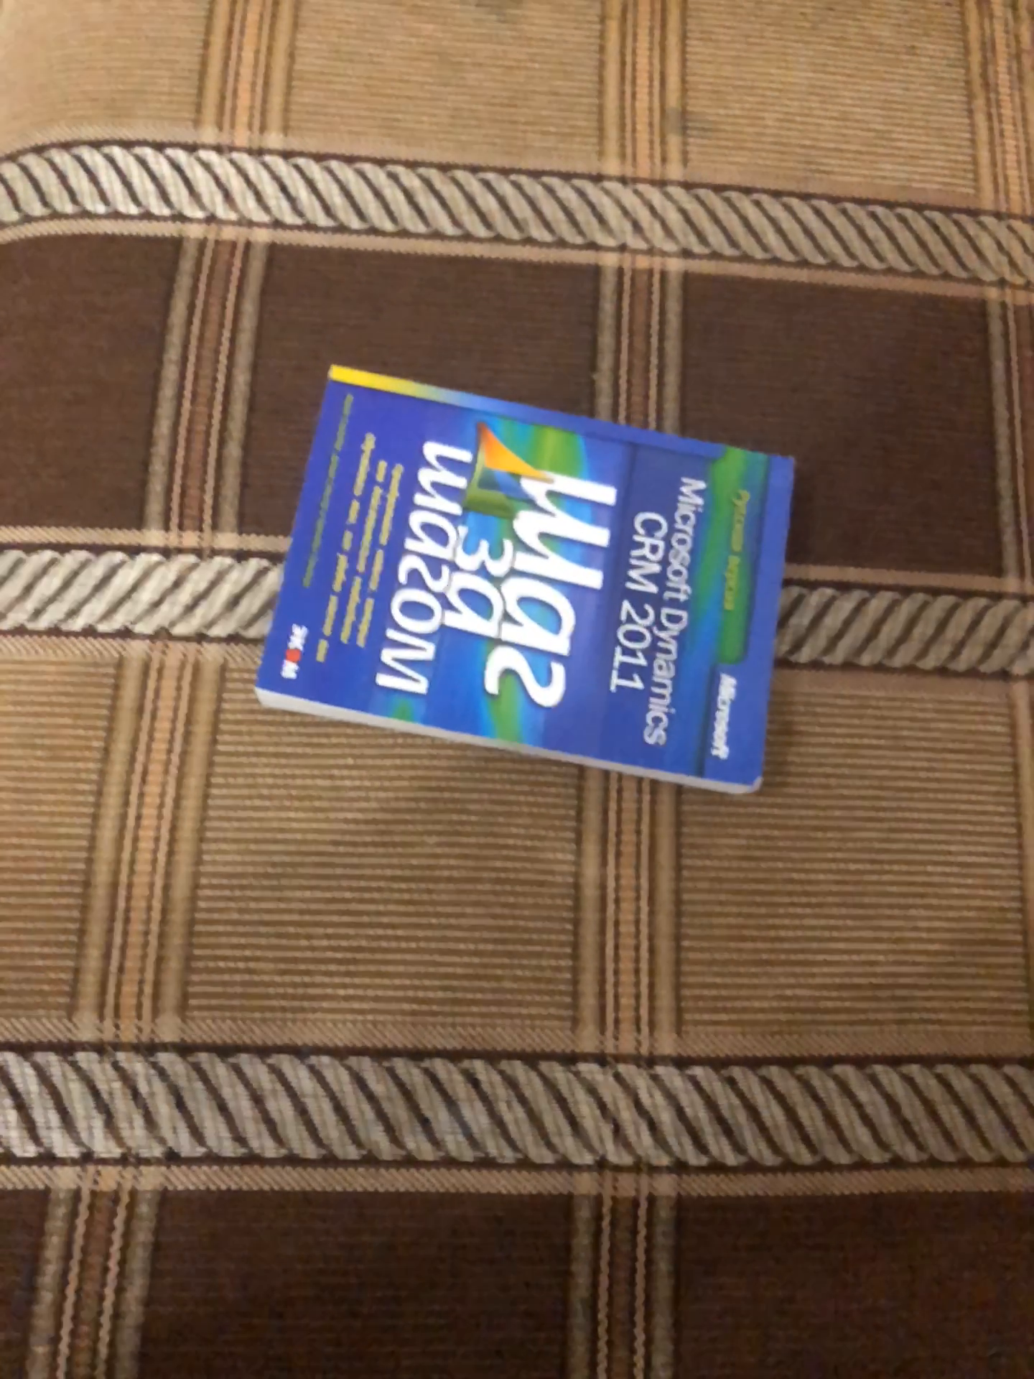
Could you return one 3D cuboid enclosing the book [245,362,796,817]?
[{"bbox_3d":[0.006,-0.041,0.474,0.200,0.033,0.150,11,74,-3],"label":"book"}]
